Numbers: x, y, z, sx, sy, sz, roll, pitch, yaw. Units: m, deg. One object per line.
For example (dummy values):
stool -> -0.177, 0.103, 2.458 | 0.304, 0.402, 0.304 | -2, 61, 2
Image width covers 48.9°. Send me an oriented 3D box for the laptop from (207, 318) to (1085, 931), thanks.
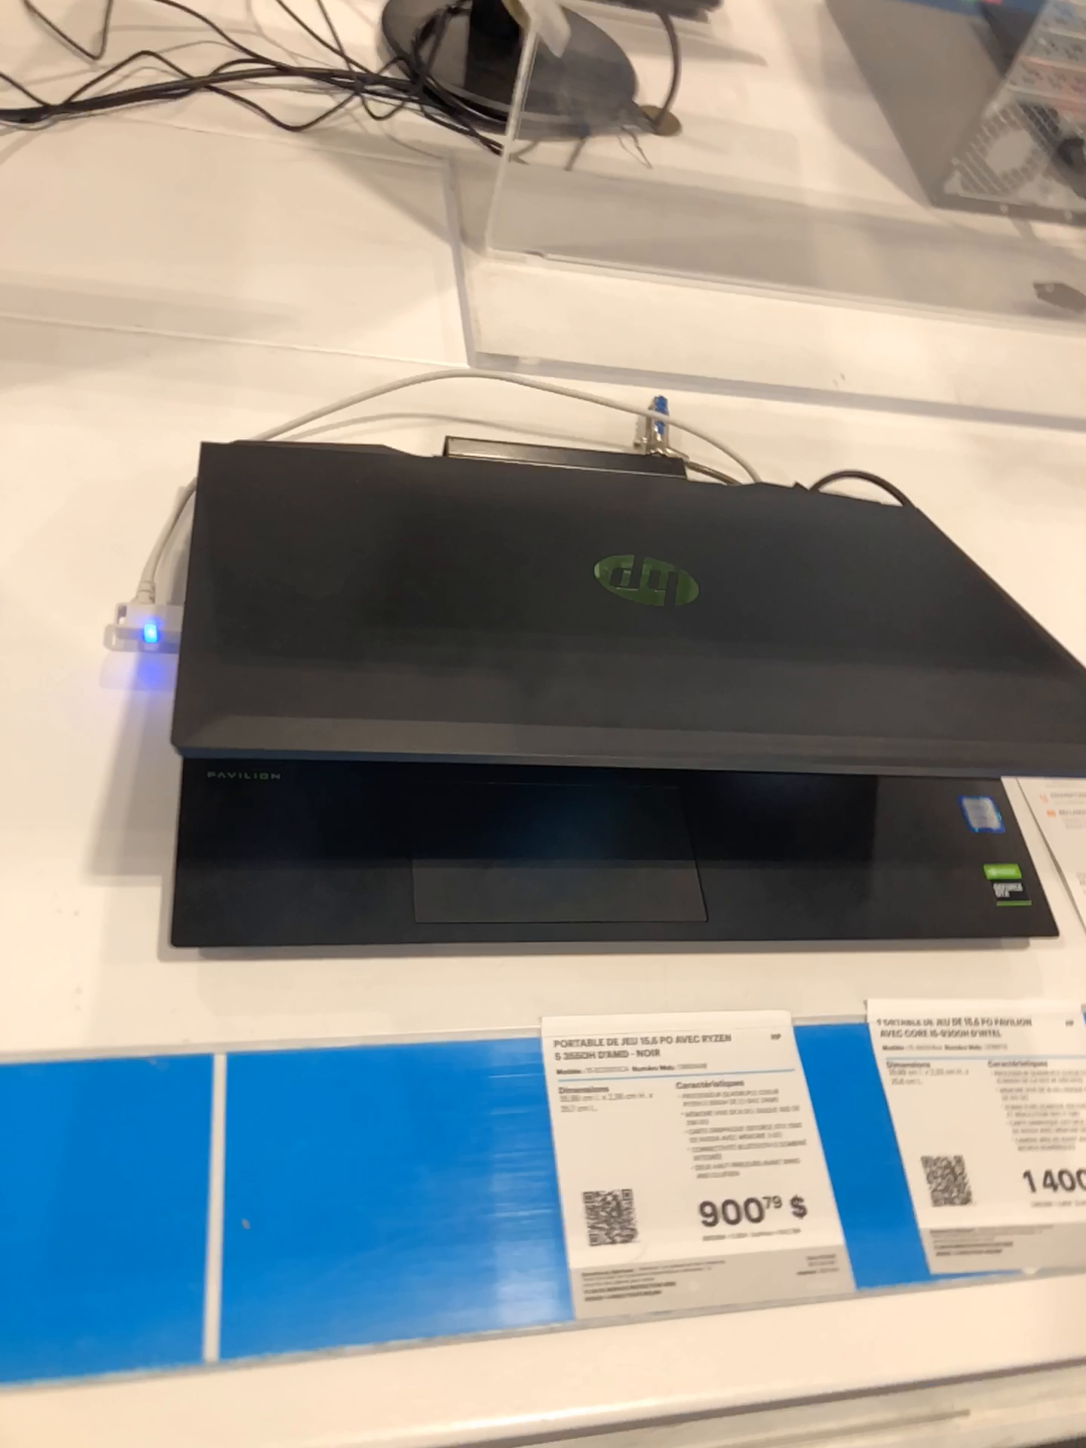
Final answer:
laptop -> 0.045, -0.040, 0.484 | 0.339, 0.064, 0.221 | 2, 60, -15
